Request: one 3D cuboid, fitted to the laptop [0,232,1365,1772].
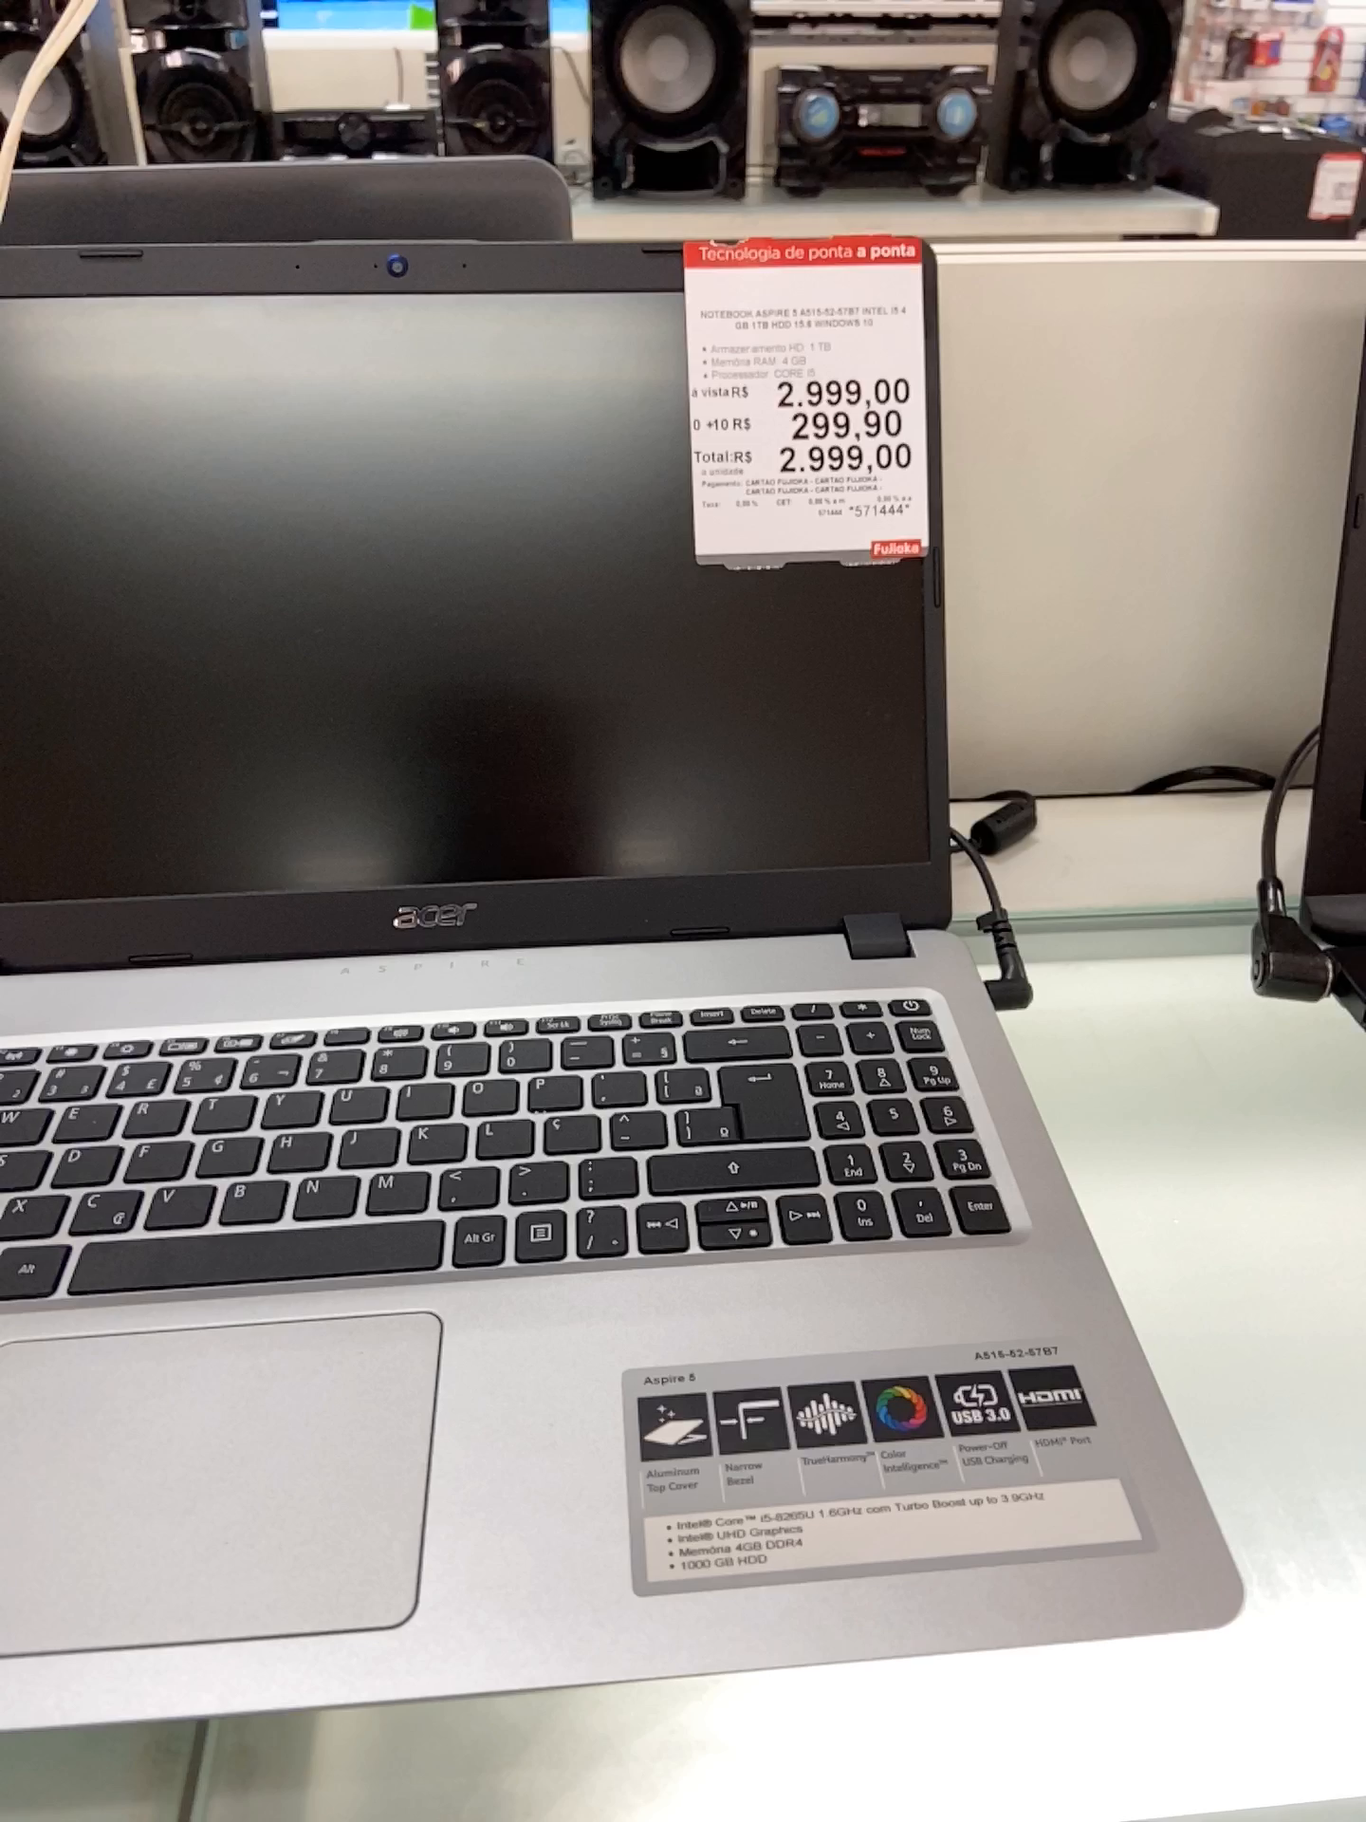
[{"bbox_3d":[-0.084,-0.038,0.377,0.366,0.205,0.374,-3,33,-4],"label":"laptop"}]
